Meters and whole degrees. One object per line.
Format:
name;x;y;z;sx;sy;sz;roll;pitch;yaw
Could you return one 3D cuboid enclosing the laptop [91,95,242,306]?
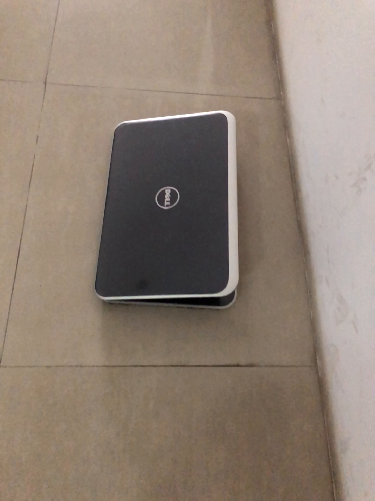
laptop;-0.030;-0.096;0.741;0.234;0.079;0.361;3;69;-3
